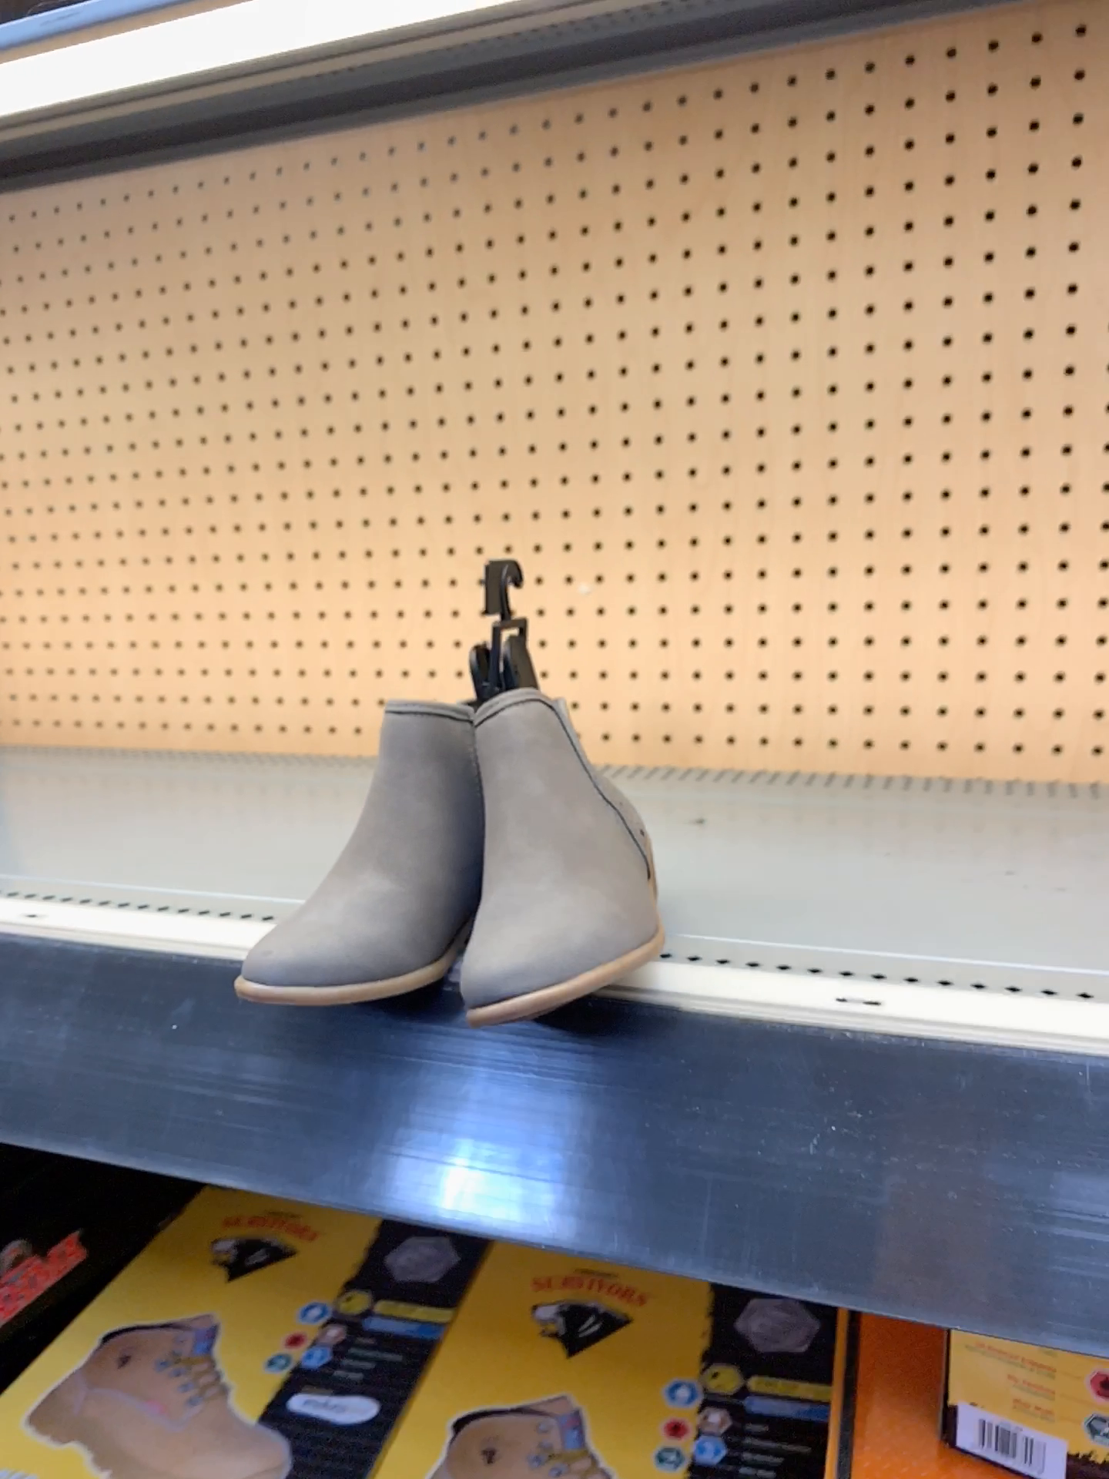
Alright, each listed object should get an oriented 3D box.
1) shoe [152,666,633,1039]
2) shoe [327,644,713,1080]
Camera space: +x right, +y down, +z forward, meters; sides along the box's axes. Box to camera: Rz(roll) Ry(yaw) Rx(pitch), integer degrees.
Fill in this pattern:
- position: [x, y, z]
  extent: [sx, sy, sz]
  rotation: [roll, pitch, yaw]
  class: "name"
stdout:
- position: [-0.057, 0.034, 0.500]
  extent: [0.087, 0.103, 0.196]
  rotation: [1, 12, 34]
  class: "shoe"
- position: [0.000, 0.036, 0.465]
  extent: [0.074, 0.113, 0.187]
  rotation: [-15, 6, 18]
  class: "shoe"
